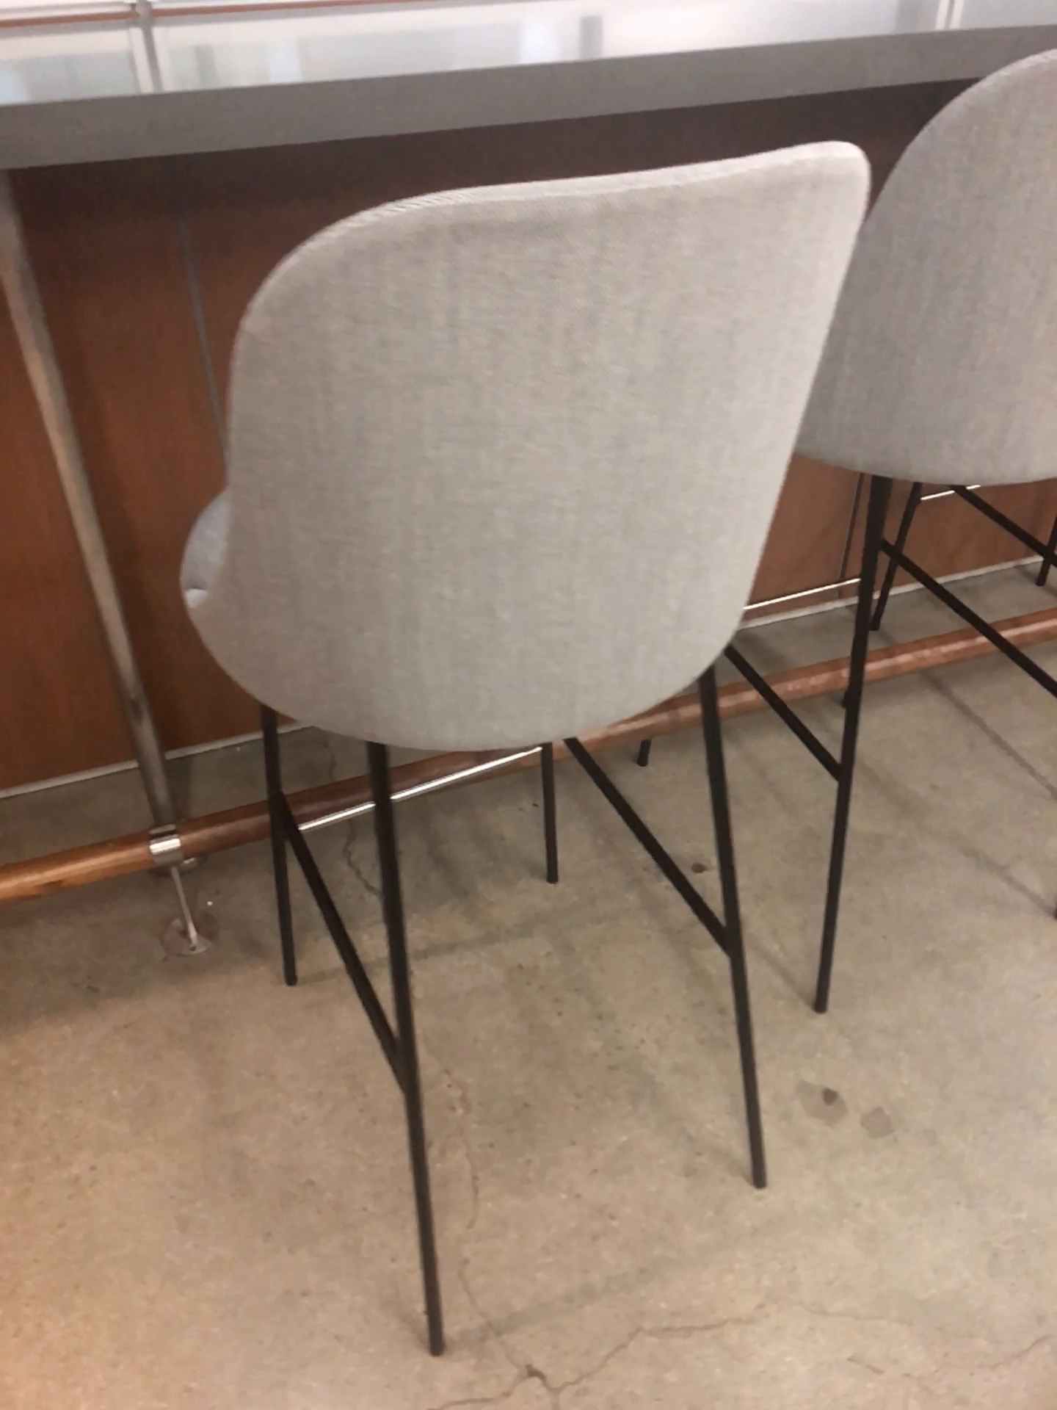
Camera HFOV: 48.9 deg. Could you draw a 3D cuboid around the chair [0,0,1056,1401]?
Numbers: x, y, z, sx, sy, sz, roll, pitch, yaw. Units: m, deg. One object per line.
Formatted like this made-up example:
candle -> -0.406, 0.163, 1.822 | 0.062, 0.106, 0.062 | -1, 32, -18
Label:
chair -> -0.054, 0.000, 1.100 | 0.512, 1.090, 0.634 | -17, 41, -19
